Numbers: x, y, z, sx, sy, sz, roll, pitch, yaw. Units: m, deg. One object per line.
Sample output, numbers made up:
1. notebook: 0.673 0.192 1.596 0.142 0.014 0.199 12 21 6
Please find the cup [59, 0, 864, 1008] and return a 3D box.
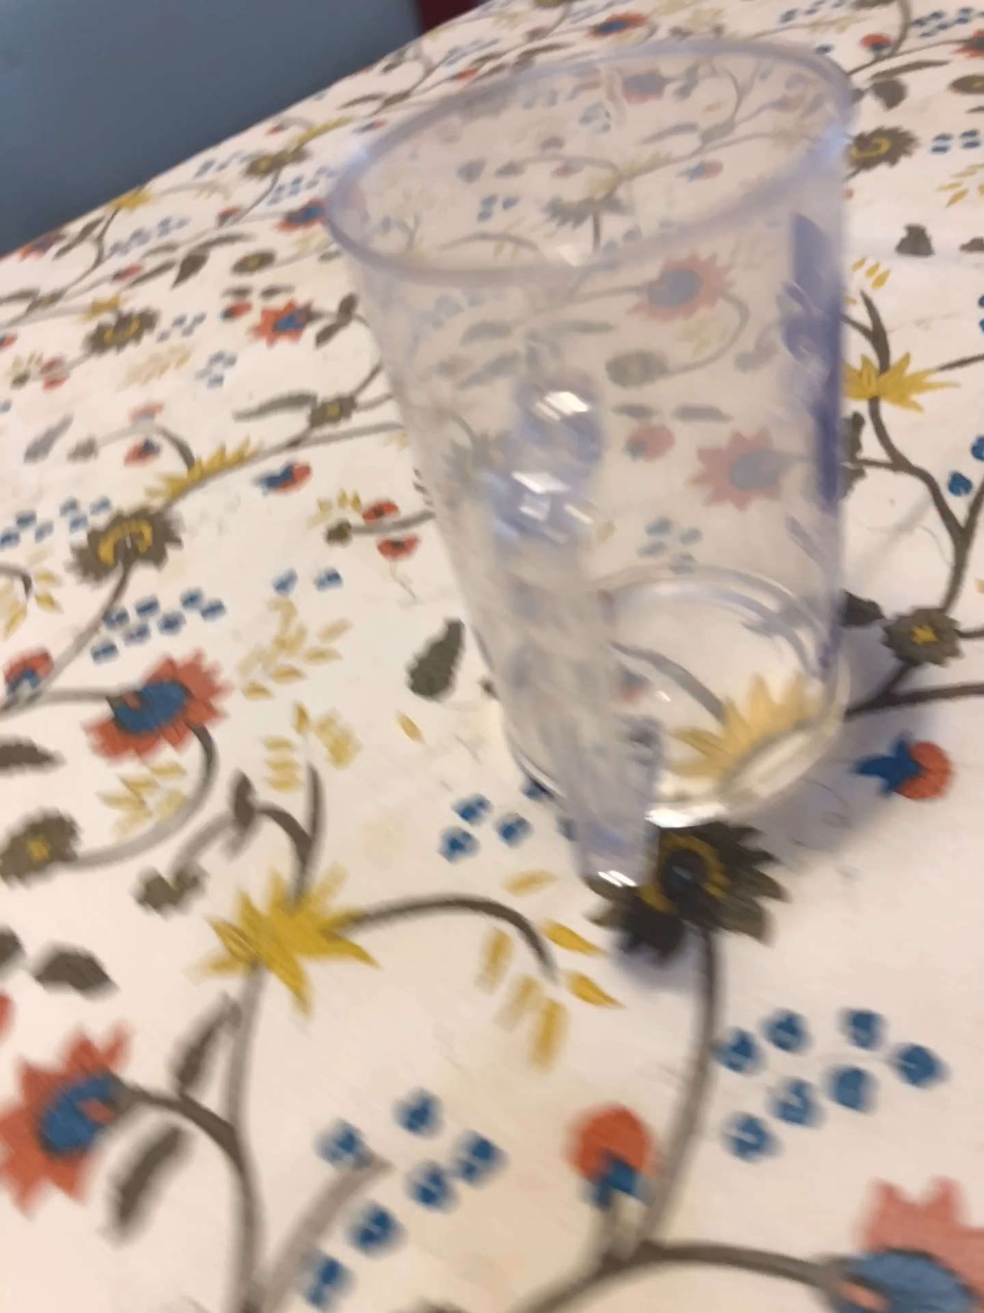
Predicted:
1. cup: 0.015 -0.024 0.179 0.080 0.109 0.111 -2 45 17
